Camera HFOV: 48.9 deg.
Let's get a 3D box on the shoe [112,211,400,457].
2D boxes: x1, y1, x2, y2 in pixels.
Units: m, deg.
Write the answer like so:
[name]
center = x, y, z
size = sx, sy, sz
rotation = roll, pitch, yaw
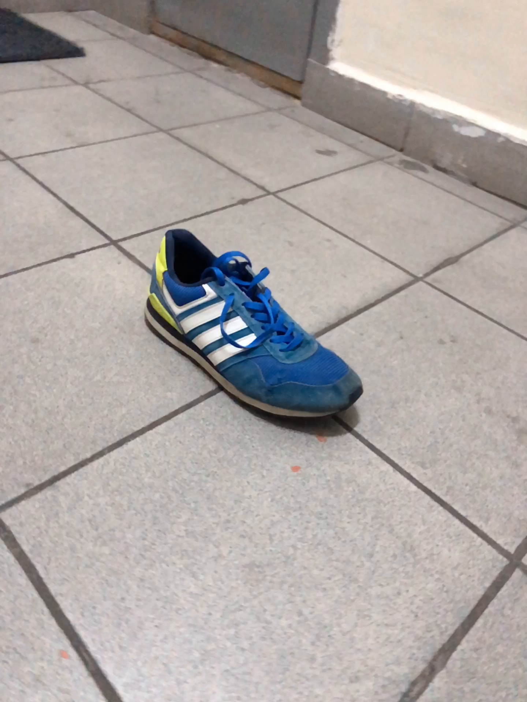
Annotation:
[shoe]
center = -0.021, -0.033, 0.615
size = 0.292, 0.099, 0.111
rotation = 33, 45, 26
